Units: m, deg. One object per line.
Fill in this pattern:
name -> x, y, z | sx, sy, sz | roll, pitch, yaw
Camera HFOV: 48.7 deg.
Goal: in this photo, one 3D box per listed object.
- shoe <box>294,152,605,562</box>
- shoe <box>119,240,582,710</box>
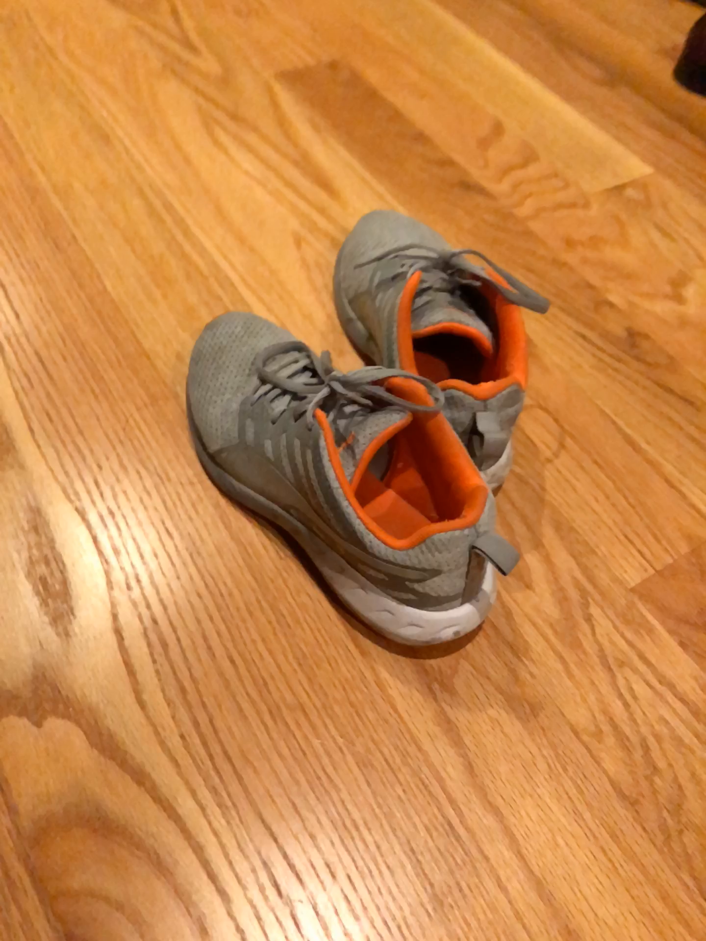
shoe -> 0.042, -0.083, 0.497 | 0.100, 0.099, 0.251 | -10, 56, -14
shoe -> -0.013, -0.011, 0.439 | 0.110, 0.080, 0.251 | -31, 63, -26
